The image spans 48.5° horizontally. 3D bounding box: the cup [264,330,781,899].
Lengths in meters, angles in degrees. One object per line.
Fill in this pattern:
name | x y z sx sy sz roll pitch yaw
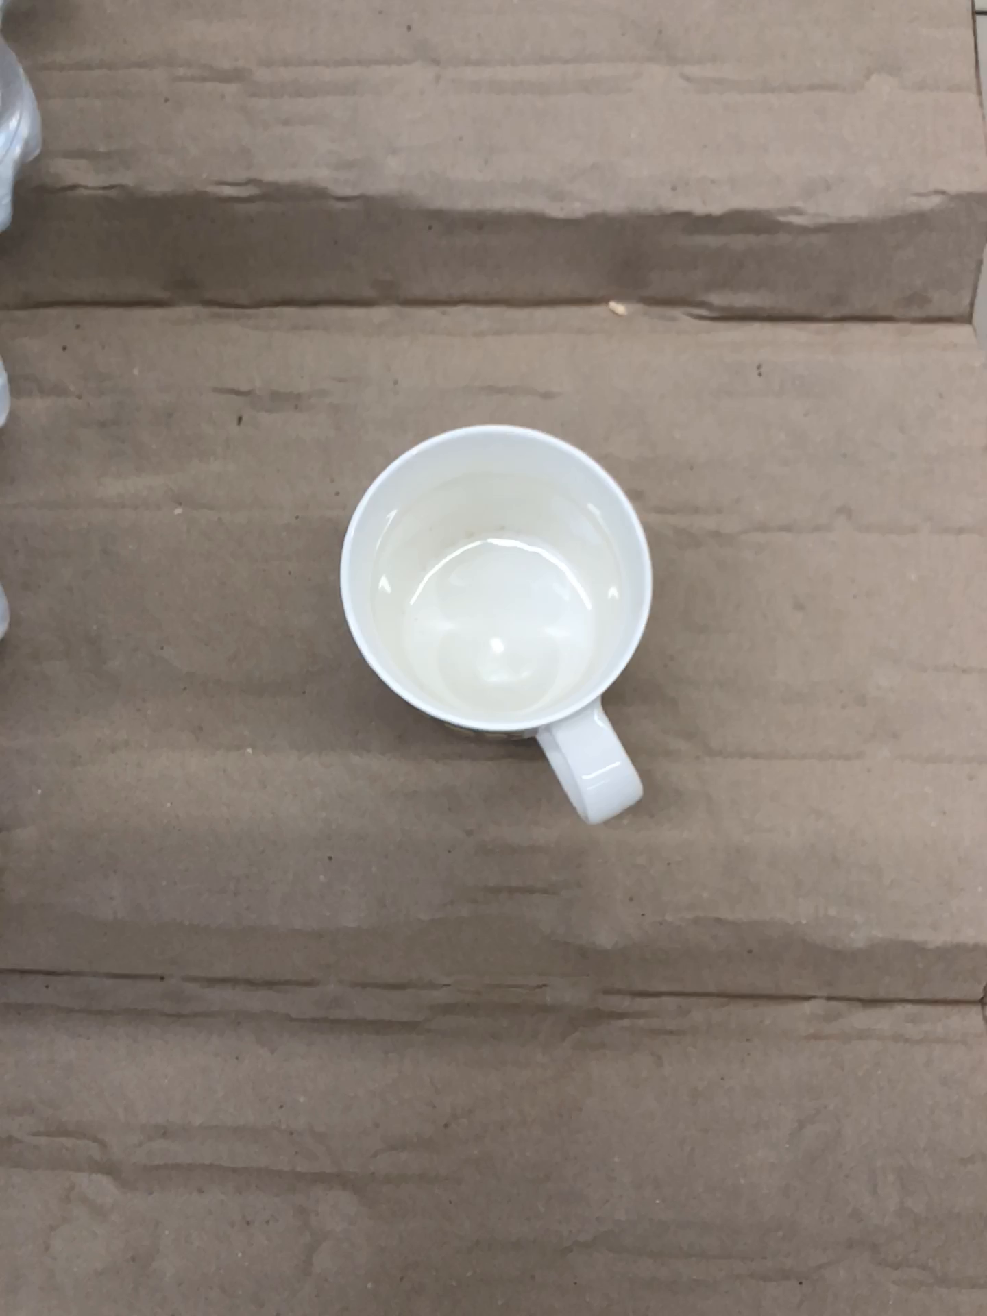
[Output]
cup | 0.008 -0.010 0.345 0.093 0.082 0.131 -28 84 -1
